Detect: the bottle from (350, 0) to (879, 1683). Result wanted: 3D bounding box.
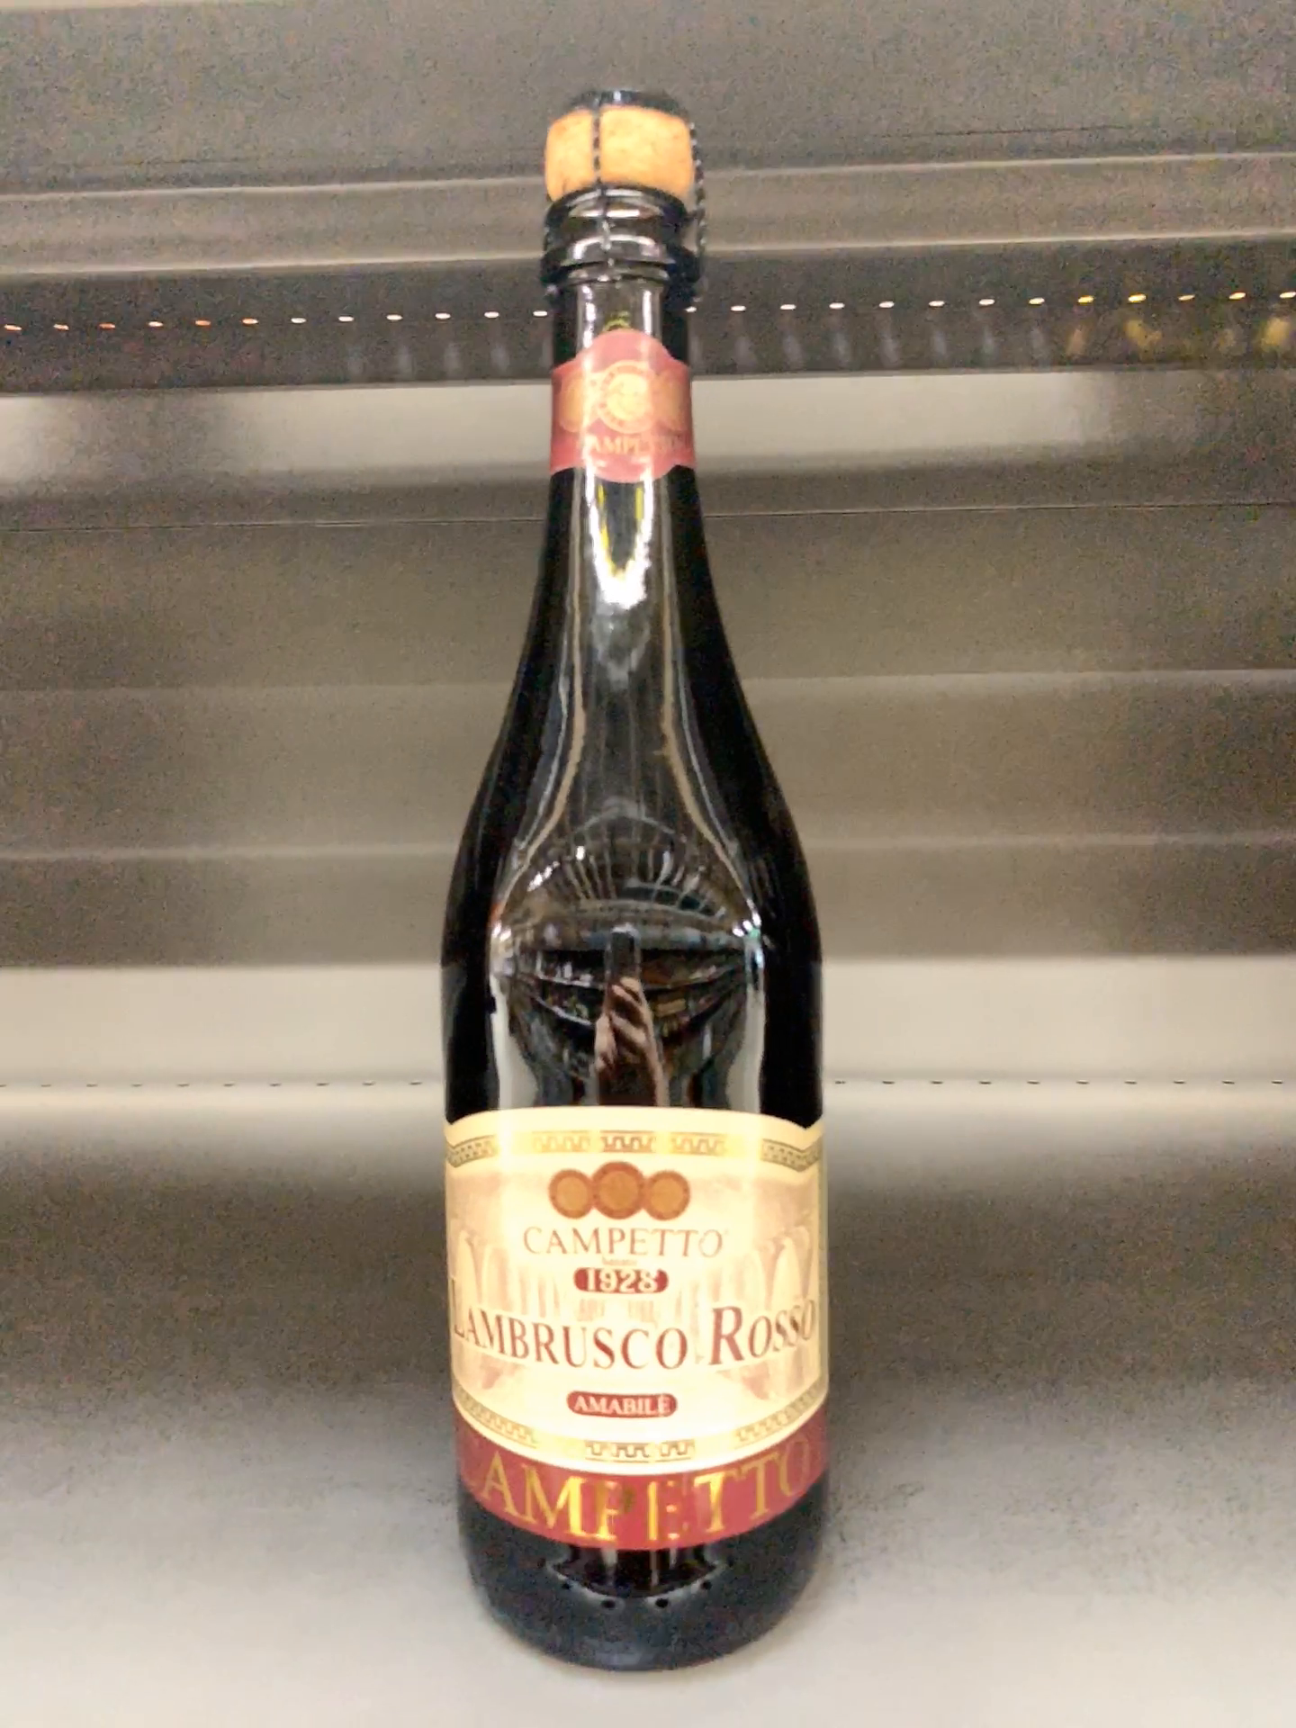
[{"bbox_3d":[-0.004,0.000,0.277,0.090,0.300,0.080,-1,4,1],"label":"bottle"}]
